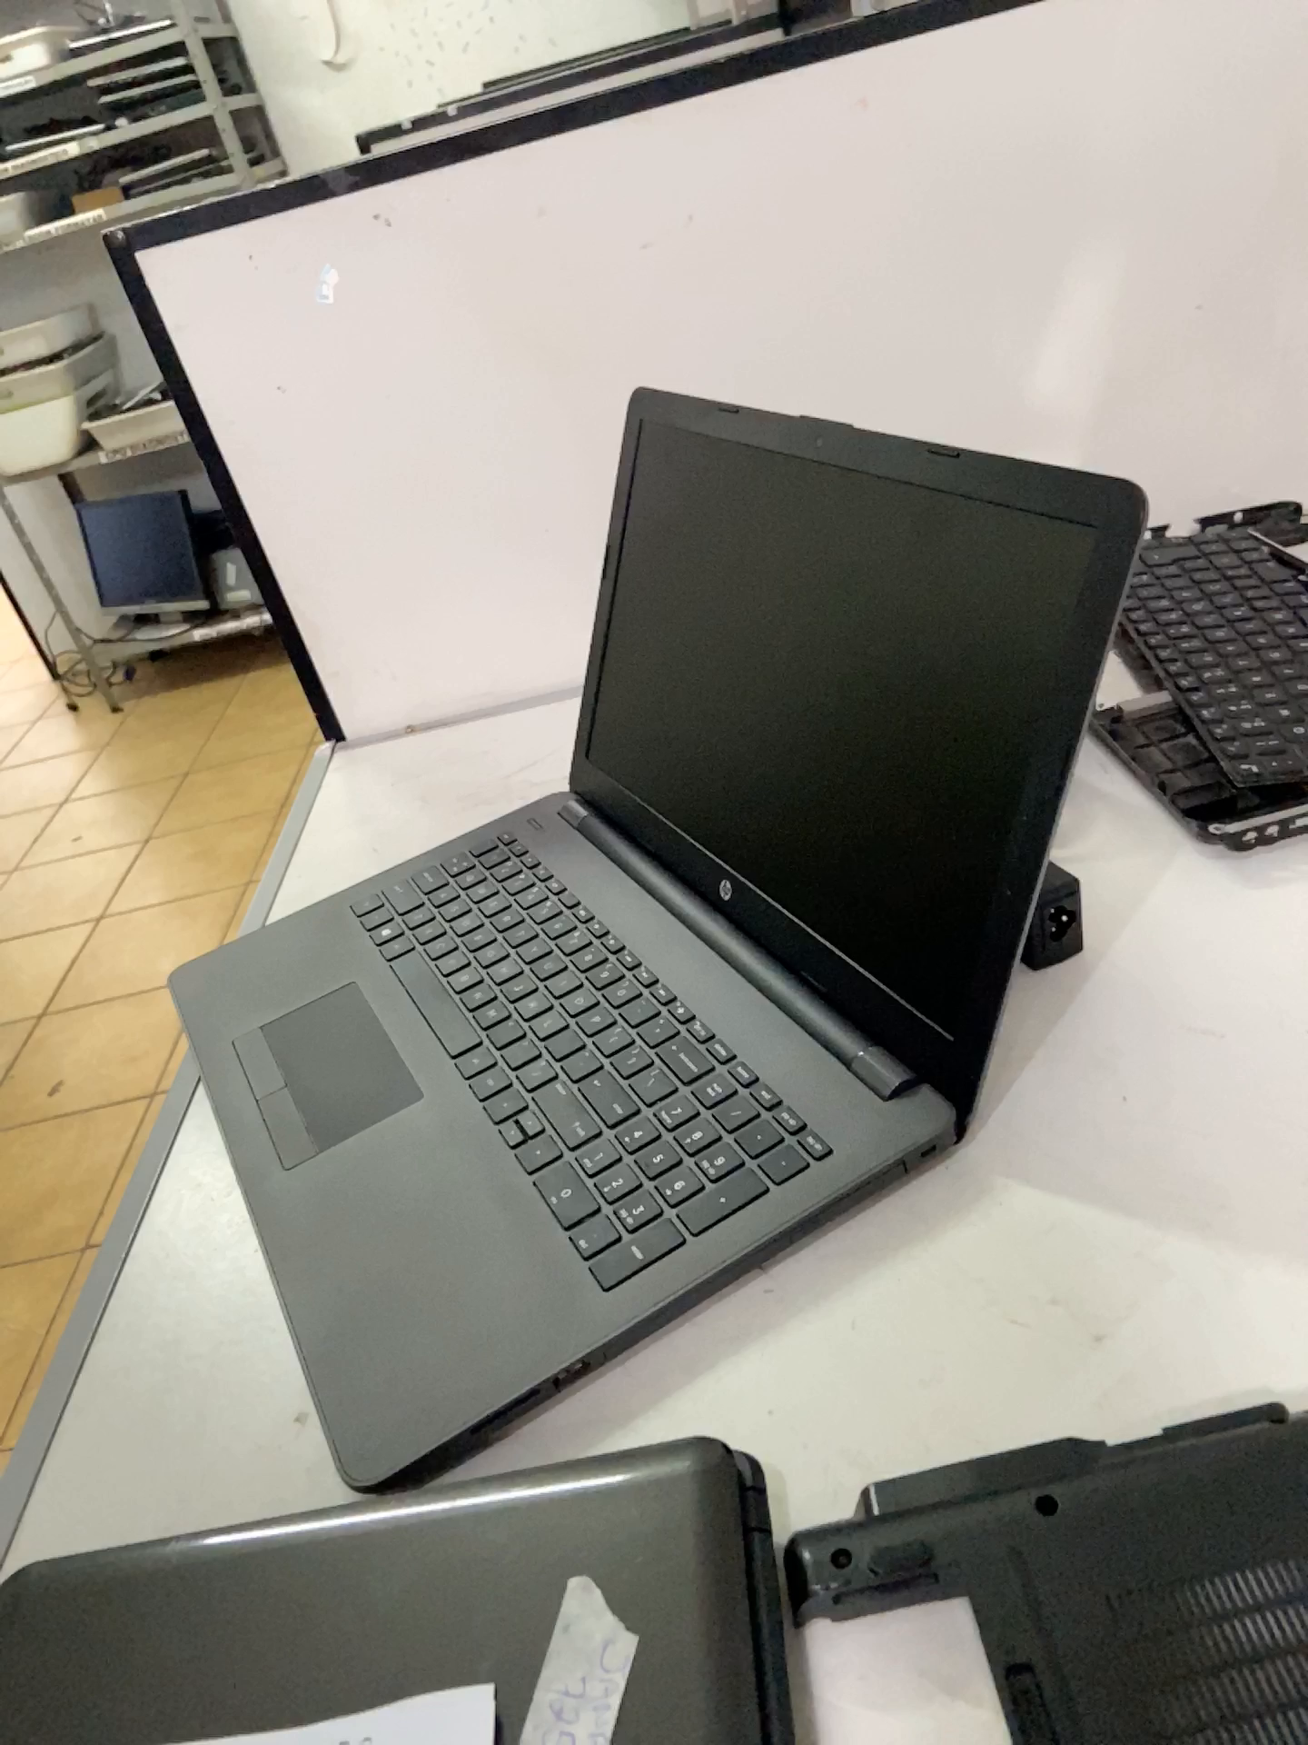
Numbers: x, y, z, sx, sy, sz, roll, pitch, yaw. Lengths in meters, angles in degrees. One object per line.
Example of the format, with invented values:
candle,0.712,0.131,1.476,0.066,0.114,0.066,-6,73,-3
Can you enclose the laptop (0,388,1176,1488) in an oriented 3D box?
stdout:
laptop,-0.055,-0.034,0.596,0.364,0.206,0.382,-27,33,-16
